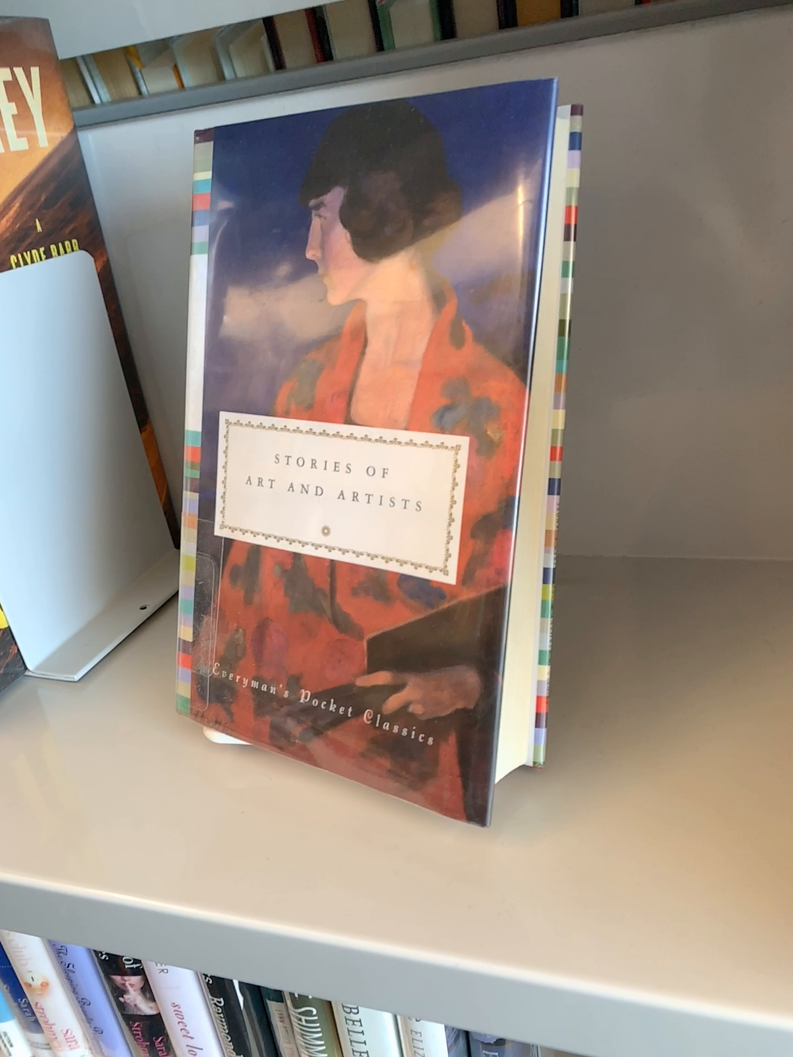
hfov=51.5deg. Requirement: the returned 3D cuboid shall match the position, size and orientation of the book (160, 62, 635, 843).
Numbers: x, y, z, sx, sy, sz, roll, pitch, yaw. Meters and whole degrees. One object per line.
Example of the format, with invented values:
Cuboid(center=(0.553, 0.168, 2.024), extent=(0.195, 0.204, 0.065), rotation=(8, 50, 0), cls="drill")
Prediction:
Cuboid(center=(-0.009, -0.023, 0.247), extent=(0.129, 0.187, 0.040), rotation=(10, 11, 32), cls="book")
